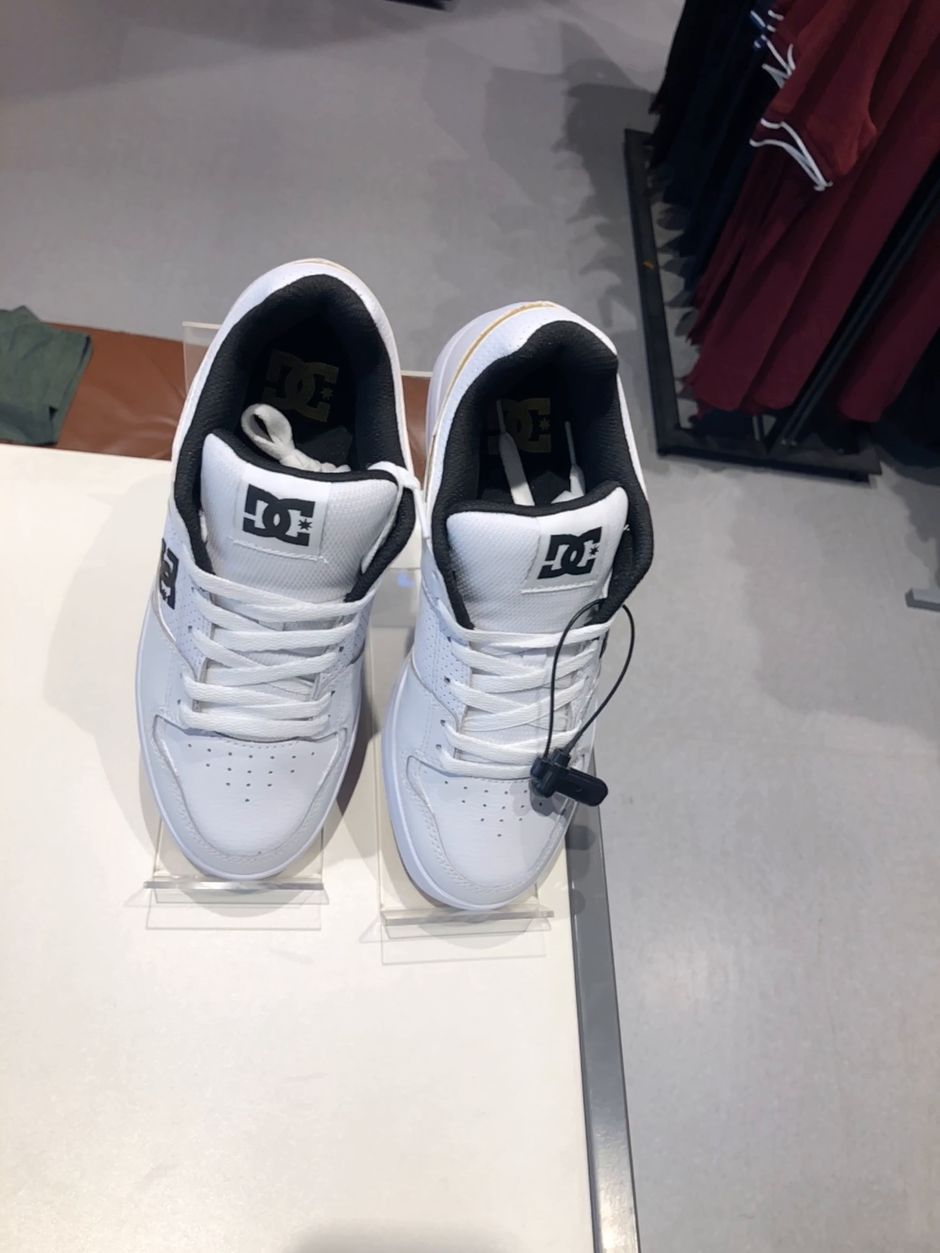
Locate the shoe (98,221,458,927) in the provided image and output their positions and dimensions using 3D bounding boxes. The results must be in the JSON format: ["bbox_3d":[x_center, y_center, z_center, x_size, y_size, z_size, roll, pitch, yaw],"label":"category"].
[{"bbox_3d":[-0.082,-0.020,0.434,0.103,0.259,0.102,7,17,-9],"label":"shoe"}]

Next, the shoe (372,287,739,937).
[{"bbox_3d":[0.024,-0.007,0.441,0.095,0.249,0.102,3,17,-13],"label":"shoe"}]
